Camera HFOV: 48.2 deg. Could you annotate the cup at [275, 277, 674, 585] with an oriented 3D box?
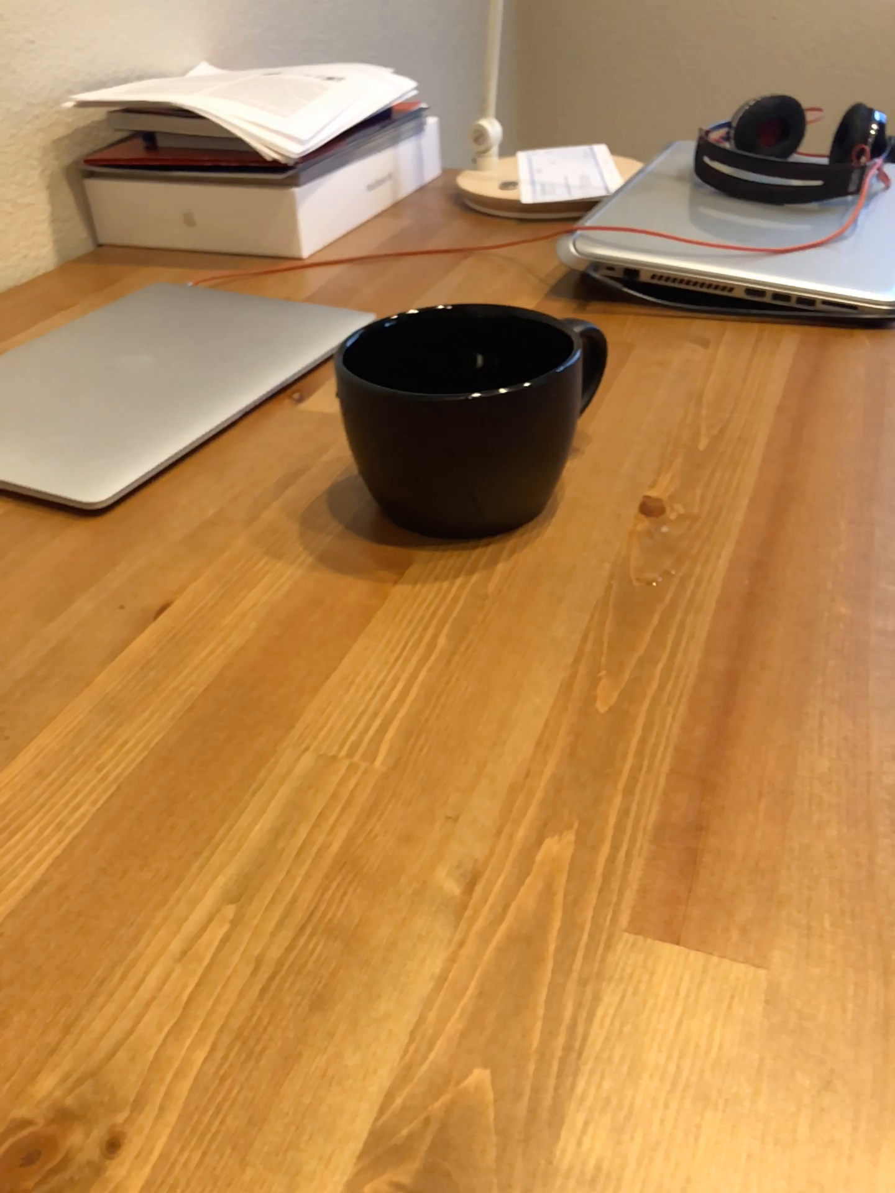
[{"bbox_3d":[0.016,-0.095,0.522,0.160,0.080,0.120,-28,41,-30],"label":"cup"}]
